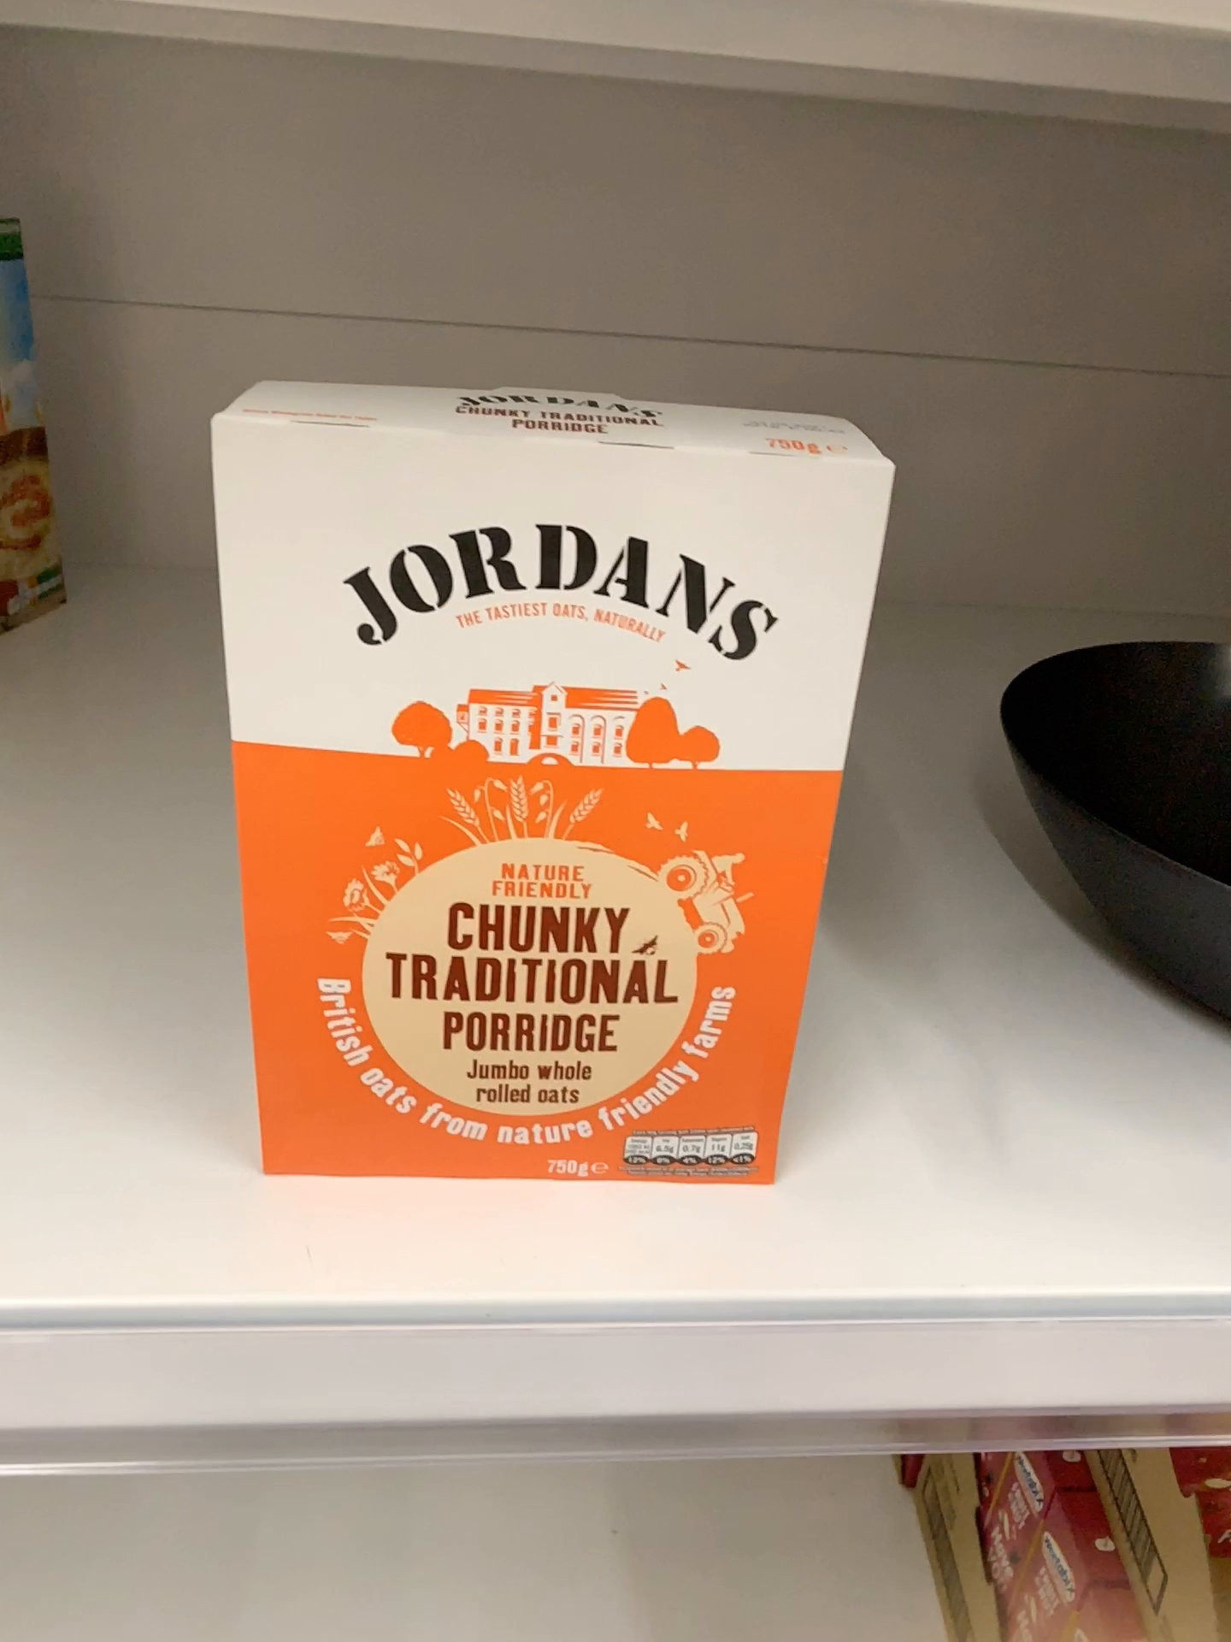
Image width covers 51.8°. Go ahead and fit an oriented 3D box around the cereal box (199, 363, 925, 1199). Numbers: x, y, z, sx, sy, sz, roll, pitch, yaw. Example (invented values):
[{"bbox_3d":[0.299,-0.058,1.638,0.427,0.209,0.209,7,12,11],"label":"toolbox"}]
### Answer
[{"bbox_3d":[-0.023,0.001,0.419,0.190,0.268,0.061,2,27,-5],"label":"cereal box"}]
